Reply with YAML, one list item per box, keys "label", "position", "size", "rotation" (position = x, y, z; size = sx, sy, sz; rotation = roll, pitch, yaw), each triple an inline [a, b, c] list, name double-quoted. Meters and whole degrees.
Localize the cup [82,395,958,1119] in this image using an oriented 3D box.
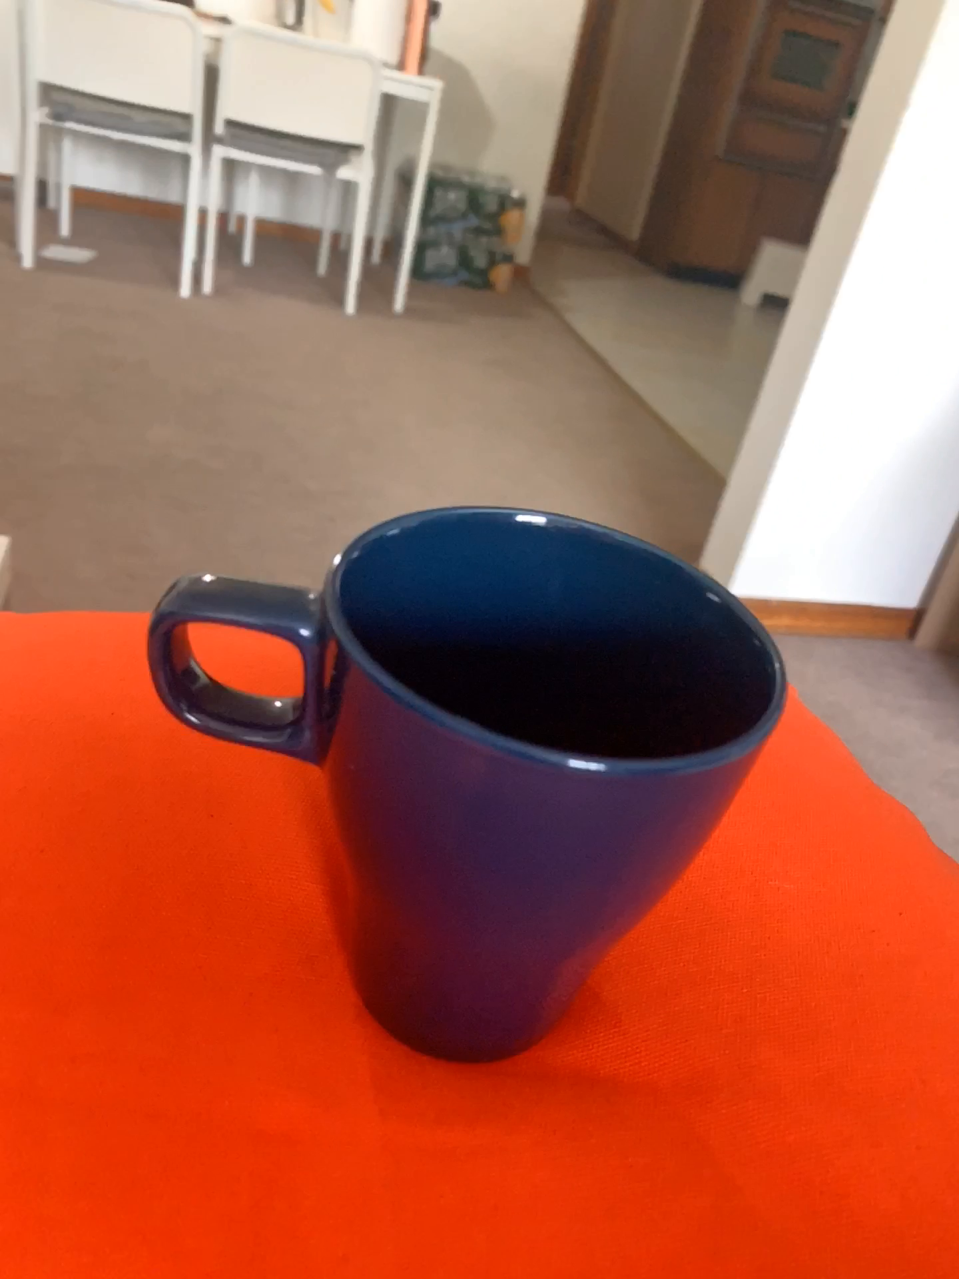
- label: "cup"
  position: [0.003, 0.018, 0.183]
  size: [0.120, 0.079, 0.081]
  rotation: [11, 30, -4]
